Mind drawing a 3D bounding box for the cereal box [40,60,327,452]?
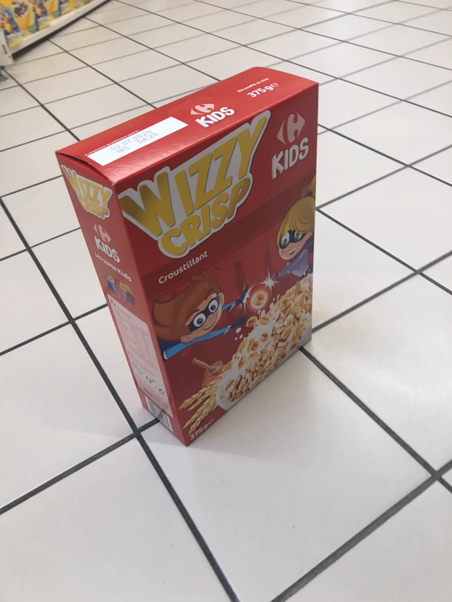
[{"bbox_3d":[-0.010,-0.032,0.441,0.191,0.278,0.090,-36,49,-29],"label":"cereal box"}]
